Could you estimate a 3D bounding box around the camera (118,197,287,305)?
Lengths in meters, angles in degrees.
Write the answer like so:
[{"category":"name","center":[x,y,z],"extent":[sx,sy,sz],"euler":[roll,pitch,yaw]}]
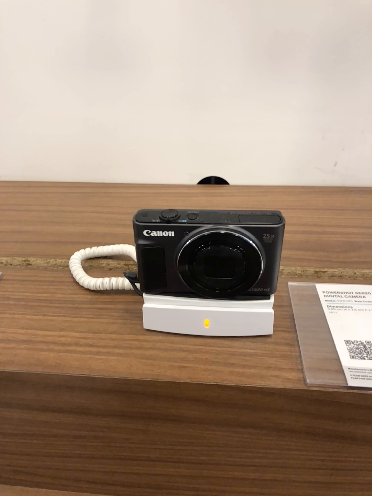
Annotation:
[{"category":"camera","center":[0.011,0.001,0.274],"extent":[0.100,0.060,0.030],"euler":[3,31,6]}]
